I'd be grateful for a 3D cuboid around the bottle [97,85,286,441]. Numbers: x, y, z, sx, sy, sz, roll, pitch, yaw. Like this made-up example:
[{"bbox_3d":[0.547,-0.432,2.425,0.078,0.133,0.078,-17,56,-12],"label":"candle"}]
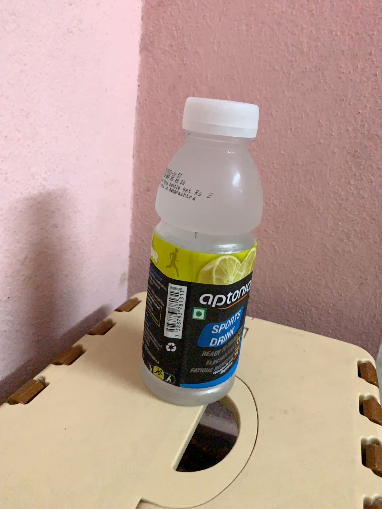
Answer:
[{"bbox_3d":[-0.007,0.003,0.230,0.070,0.179,0.060,-13,28,-42],"label":"bottle"}]
